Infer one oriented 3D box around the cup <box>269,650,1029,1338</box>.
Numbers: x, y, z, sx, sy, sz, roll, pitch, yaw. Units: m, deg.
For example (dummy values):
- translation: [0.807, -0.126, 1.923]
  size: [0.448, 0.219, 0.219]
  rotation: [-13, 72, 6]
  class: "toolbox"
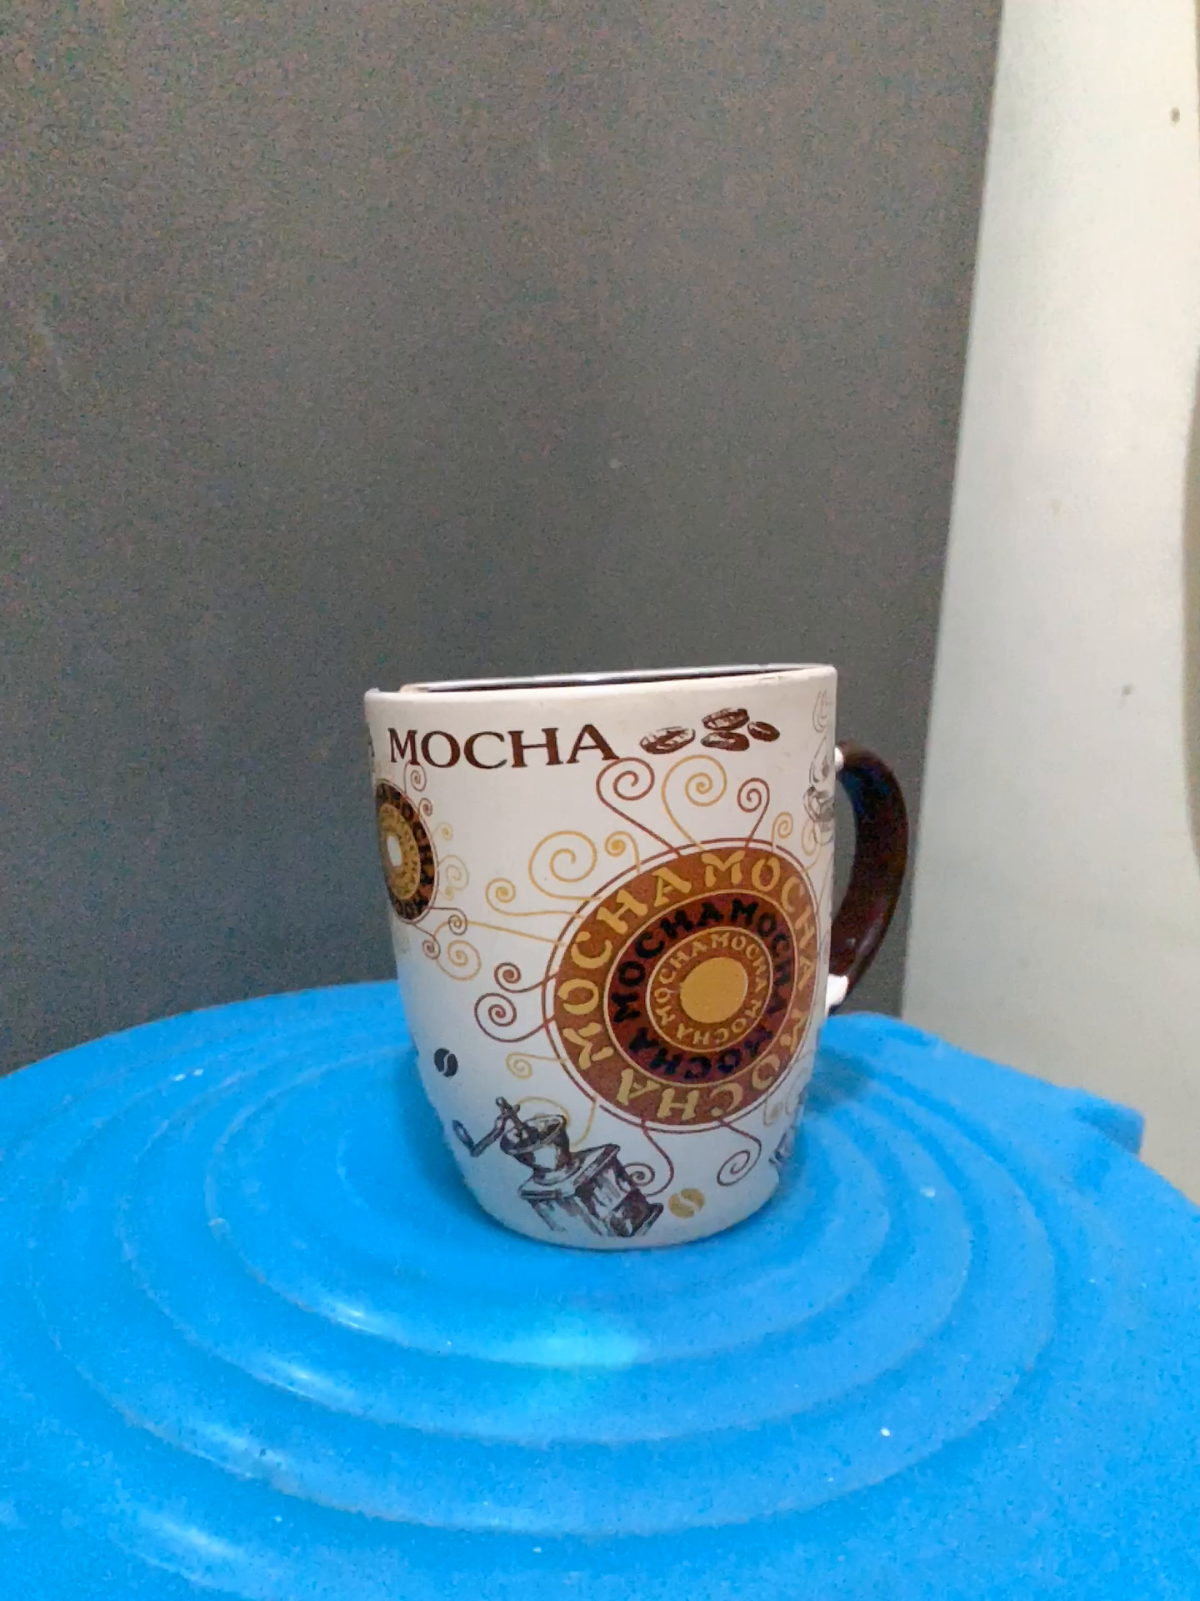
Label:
- translation: [0.012, 0.018, 0.217]
  size: [0.109, 0.083, 0.070]
  rotation: [-8, 9, -41]
  class: "cup"
